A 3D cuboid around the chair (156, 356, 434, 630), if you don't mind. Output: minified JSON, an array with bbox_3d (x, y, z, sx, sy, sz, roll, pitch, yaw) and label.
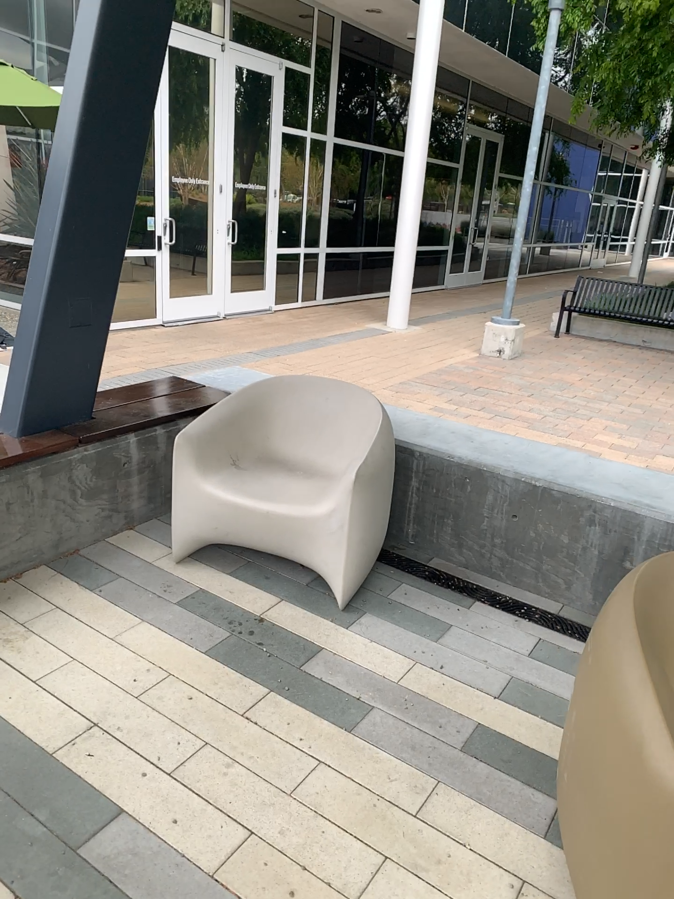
[{"bbox_3d":[-0.176,0.129,3.273,0.981,0.786,0.923,14,24,16],"label":"chair"}]
